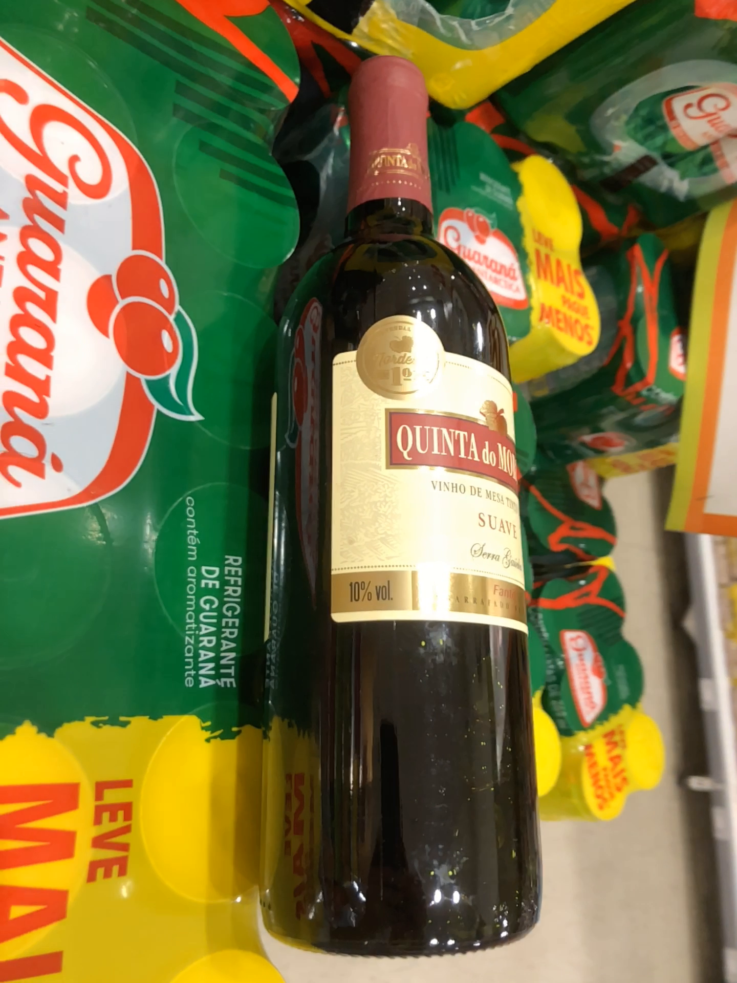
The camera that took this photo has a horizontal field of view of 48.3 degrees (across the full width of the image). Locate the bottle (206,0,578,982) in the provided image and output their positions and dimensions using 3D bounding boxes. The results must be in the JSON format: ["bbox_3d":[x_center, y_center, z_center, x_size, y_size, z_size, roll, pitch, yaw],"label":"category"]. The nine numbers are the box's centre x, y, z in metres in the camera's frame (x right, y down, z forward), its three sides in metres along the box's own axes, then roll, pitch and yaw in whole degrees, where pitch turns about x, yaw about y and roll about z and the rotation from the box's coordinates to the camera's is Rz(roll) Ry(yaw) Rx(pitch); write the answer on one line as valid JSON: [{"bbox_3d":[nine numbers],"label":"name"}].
[{"bbox_3d":[0.013,-0.014,0.254,0.080,0.070,0.270,27,61,-58],"label":"bottle"}]
